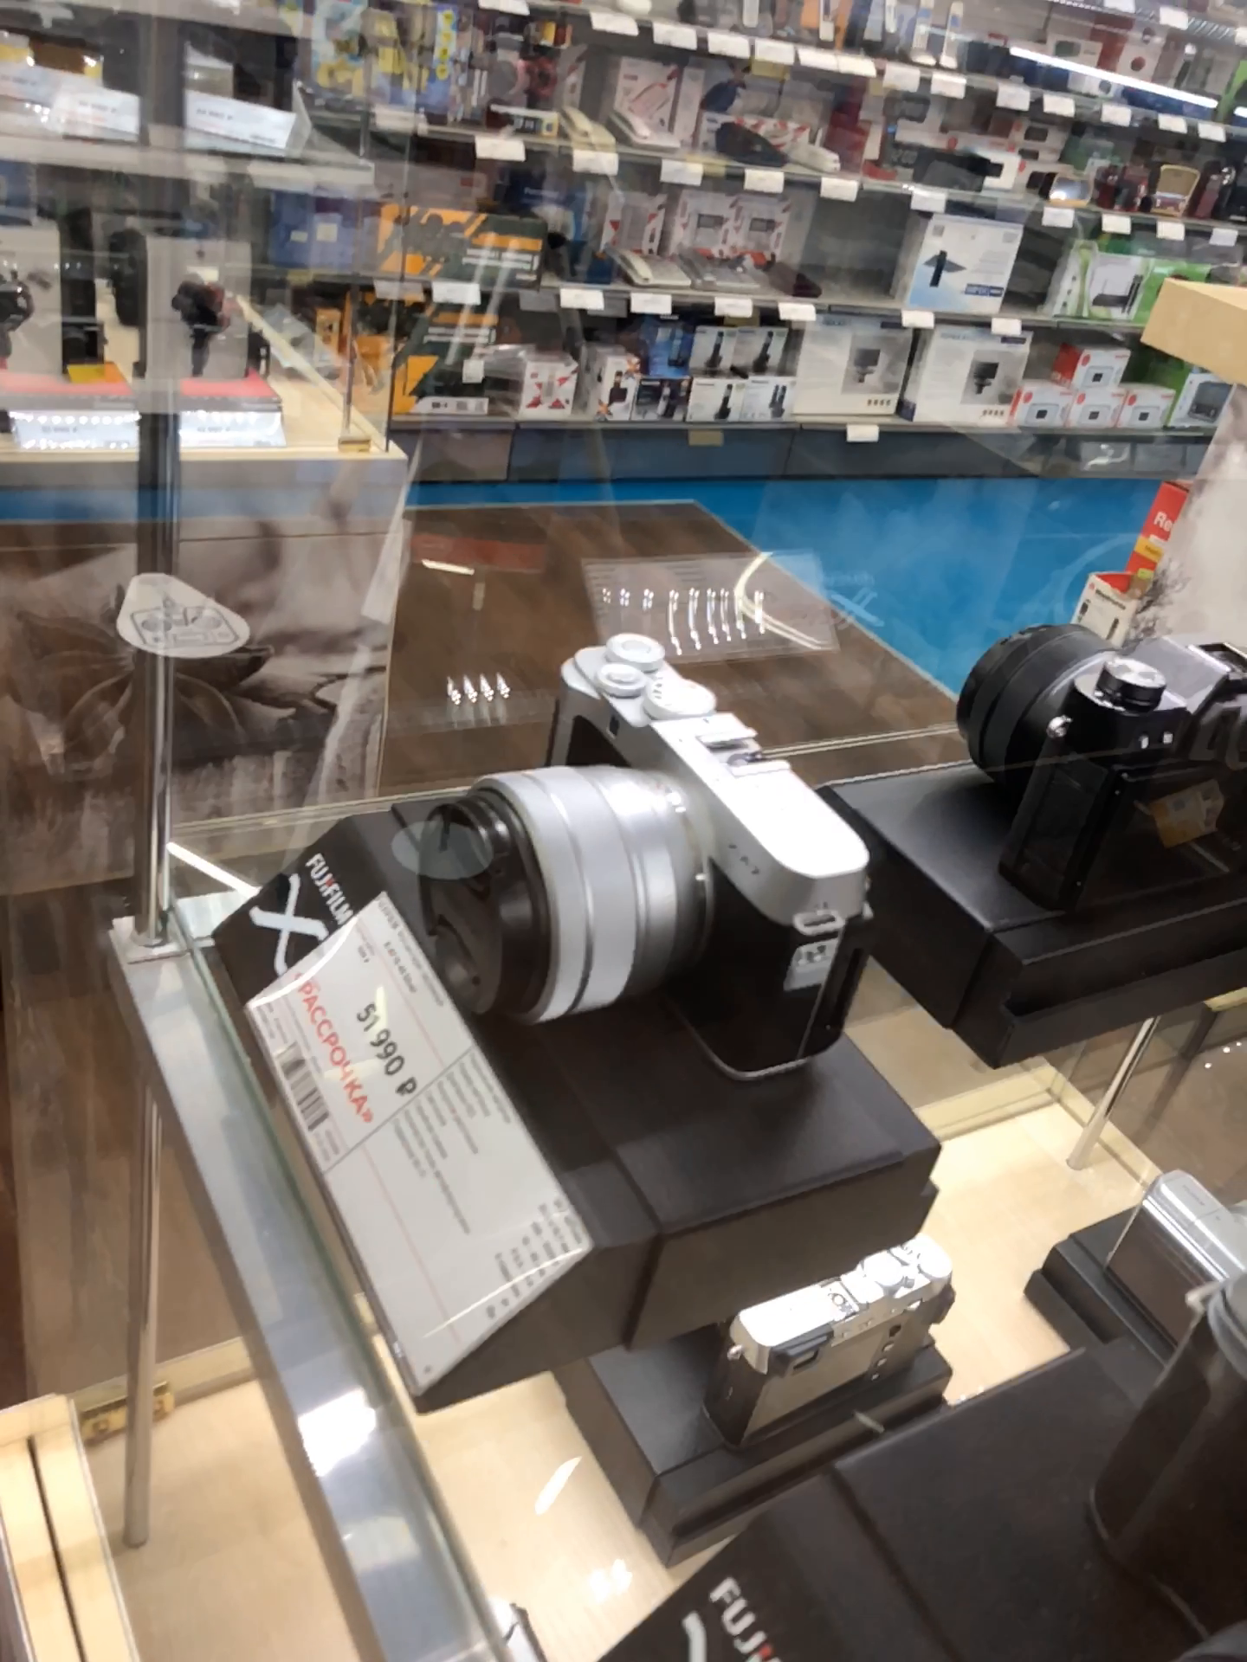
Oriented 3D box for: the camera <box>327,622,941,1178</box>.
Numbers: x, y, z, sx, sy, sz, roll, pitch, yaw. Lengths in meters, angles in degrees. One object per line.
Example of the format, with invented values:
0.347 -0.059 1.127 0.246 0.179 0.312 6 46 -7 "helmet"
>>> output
-0.006 0.007 0.360 0.100 0.066 0.134 -8 38 -29 "camera"
